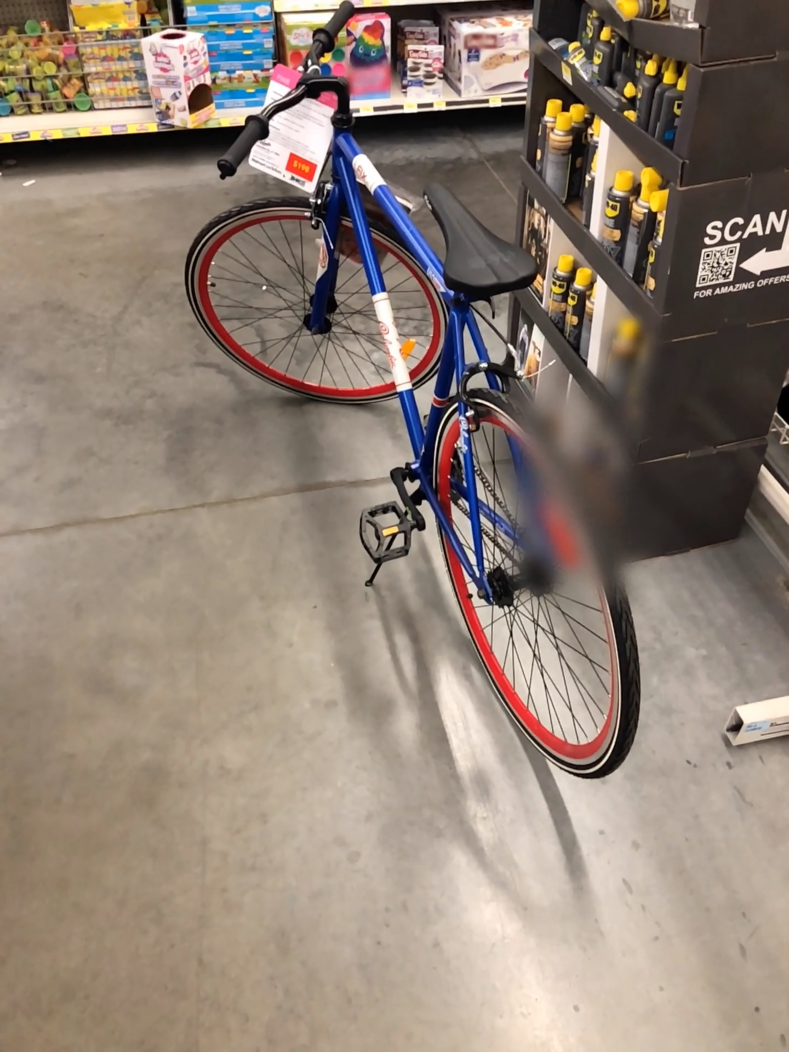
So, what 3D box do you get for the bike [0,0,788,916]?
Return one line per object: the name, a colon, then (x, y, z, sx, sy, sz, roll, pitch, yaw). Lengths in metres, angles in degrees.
bike: (-0.091, -0.280, 1.519, 0.602, 0.937, 1.498, -24, 52, -22)
